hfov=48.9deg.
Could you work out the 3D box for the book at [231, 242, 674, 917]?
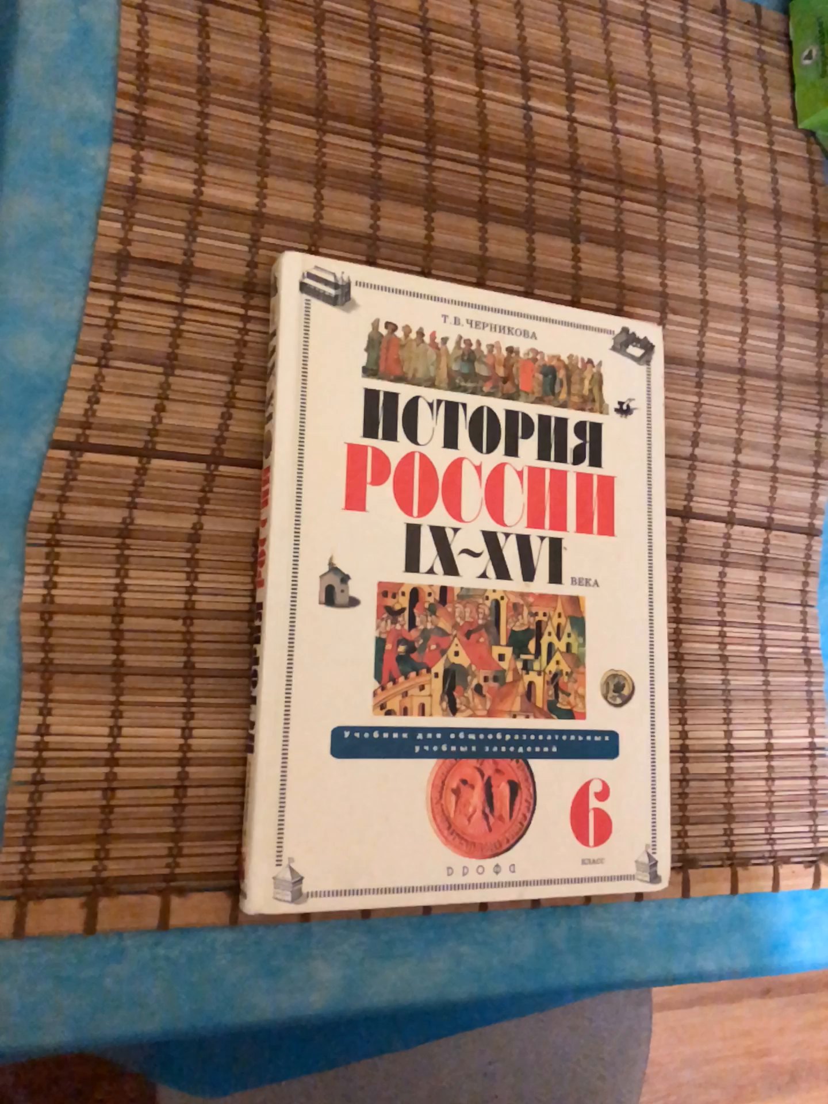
[{"bbox_3d":[0.022,0.011,0.364,0.170,0.029,0.240,5,80,-20],"label":"book"}]
